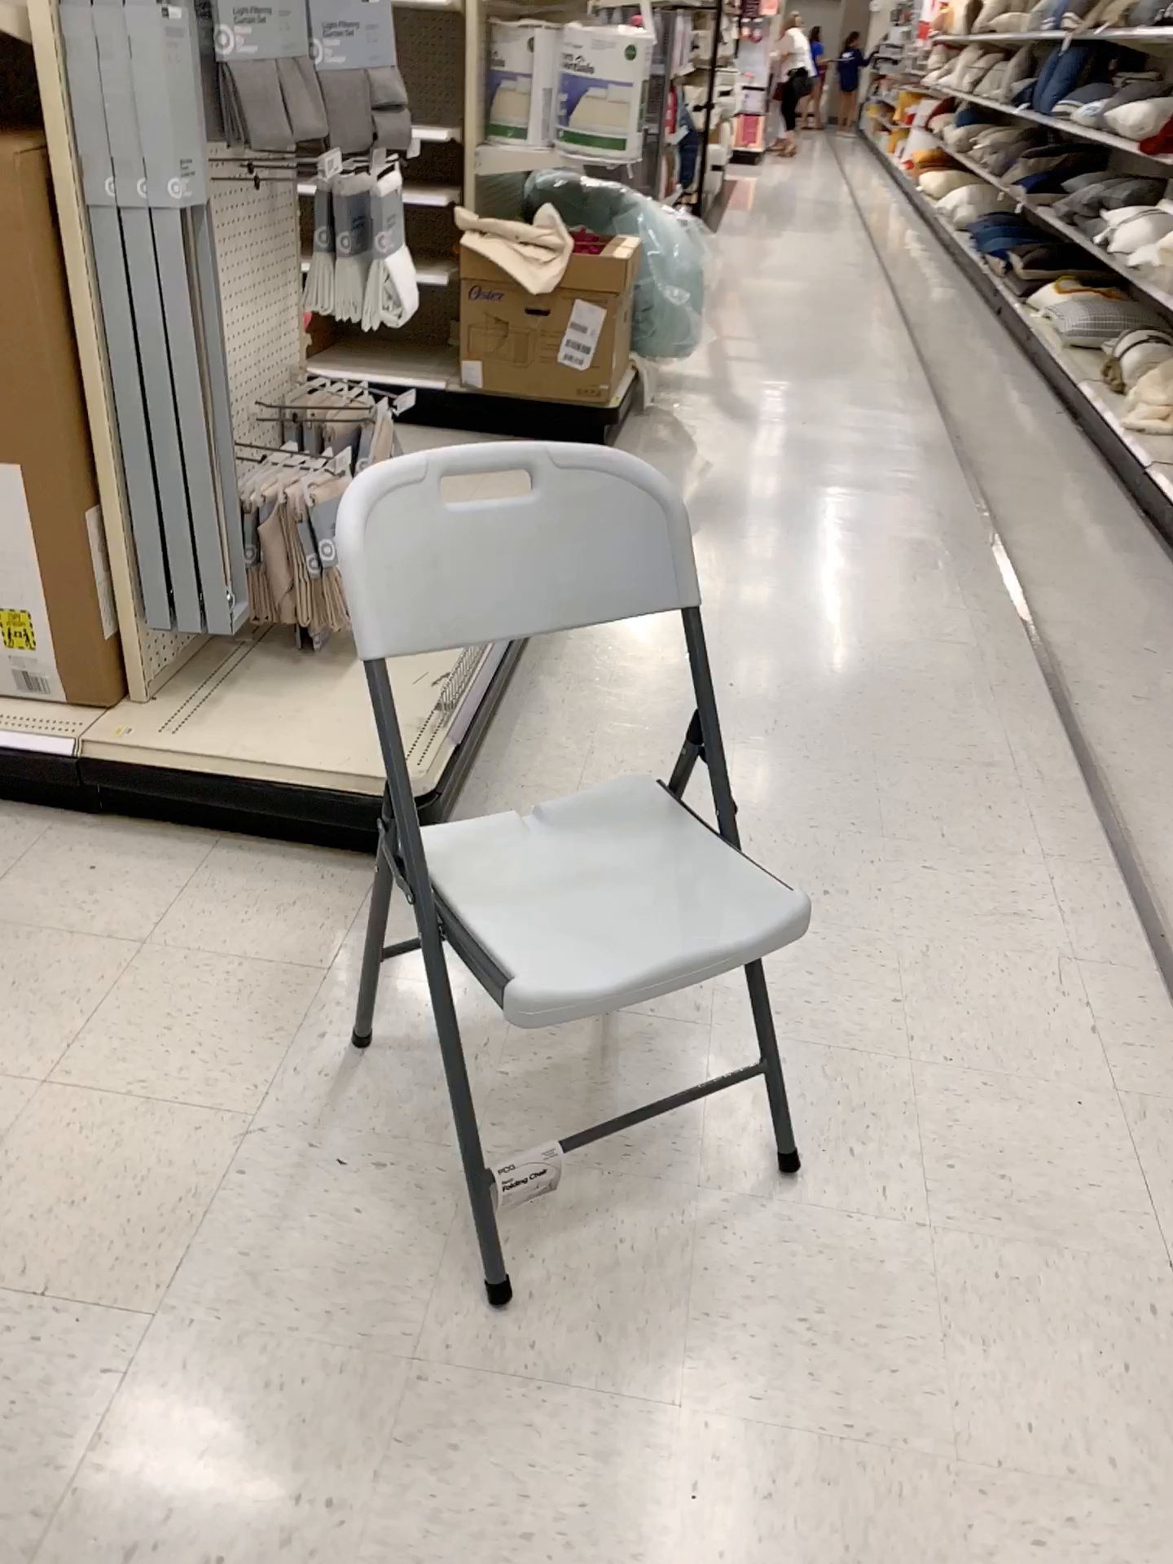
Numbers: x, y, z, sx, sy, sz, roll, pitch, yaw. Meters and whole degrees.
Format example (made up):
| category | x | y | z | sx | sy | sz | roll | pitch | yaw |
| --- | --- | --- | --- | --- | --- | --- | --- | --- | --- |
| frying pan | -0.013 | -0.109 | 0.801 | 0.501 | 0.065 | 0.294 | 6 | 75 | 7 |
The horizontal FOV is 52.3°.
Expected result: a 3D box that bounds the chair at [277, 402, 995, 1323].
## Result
| category | x | y | z | sx | sy | sz | roll | pitch | yaw |
| --- | --- | --- | --- | --- | --- | --- | --- | --- | --- |
| chair | -0.003 | 0.059 | 1.458 | 0.521 | 0.846 | 0.572 | -14 | 36 | -28 |
